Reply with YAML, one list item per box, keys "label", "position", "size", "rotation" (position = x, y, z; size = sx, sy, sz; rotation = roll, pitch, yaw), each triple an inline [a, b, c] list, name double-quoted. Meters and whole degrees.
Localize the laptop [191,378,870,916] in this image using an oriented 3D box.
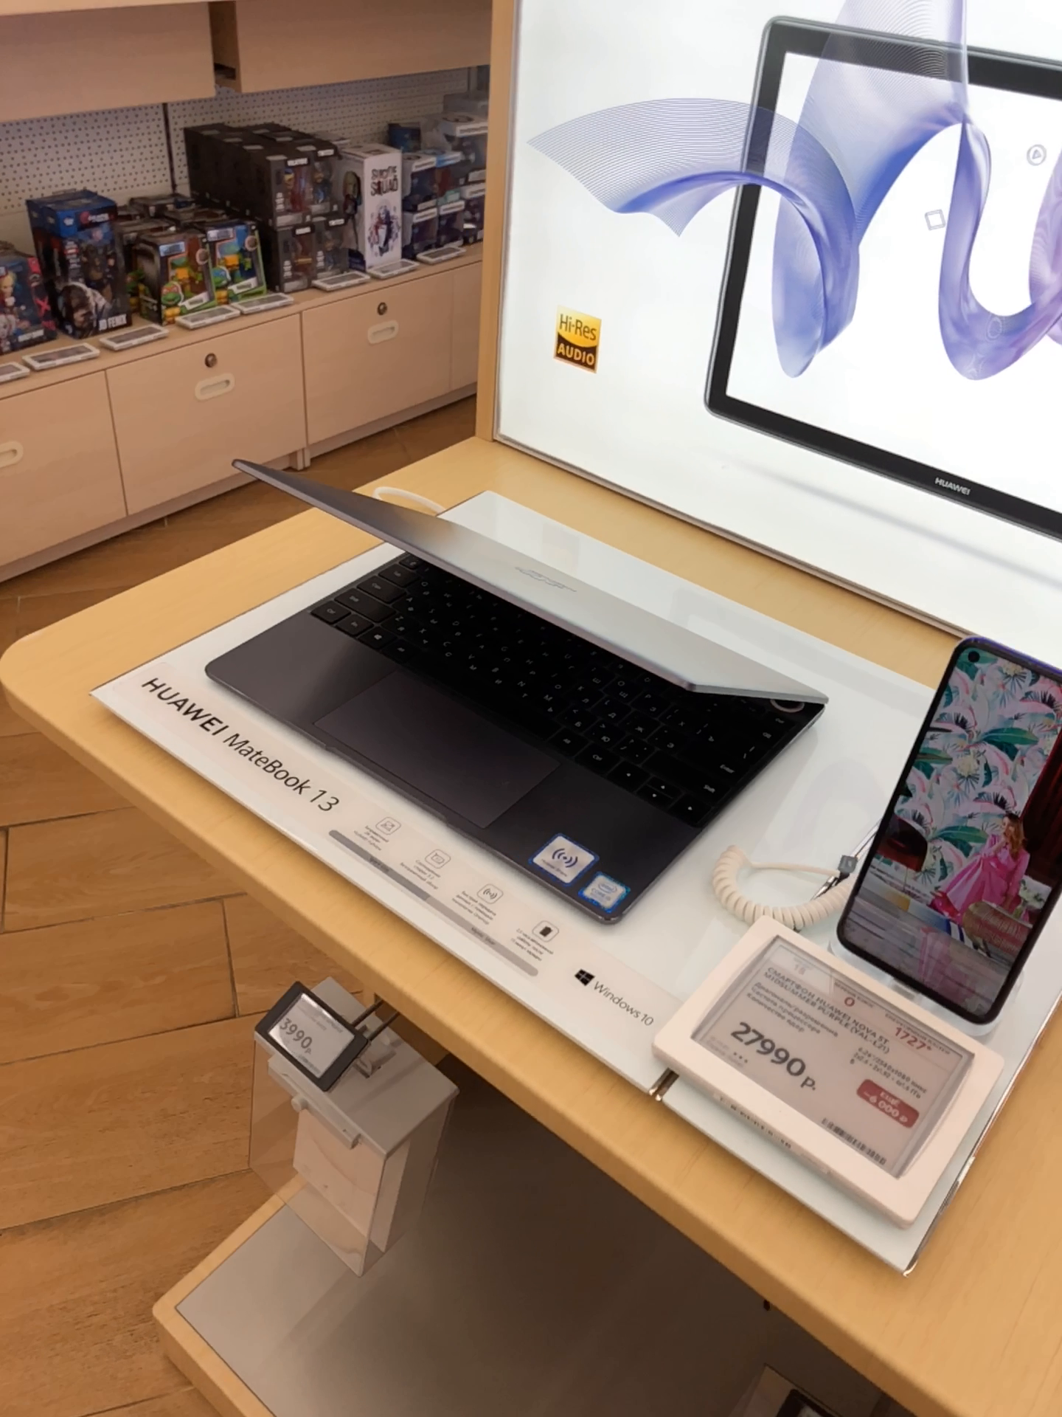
- label: "laptop"
  position: [-0.003, -0.054, 0.615]
  size: [0.272, 0.106, 0.204]
  rotation: [29, 45, 27]
